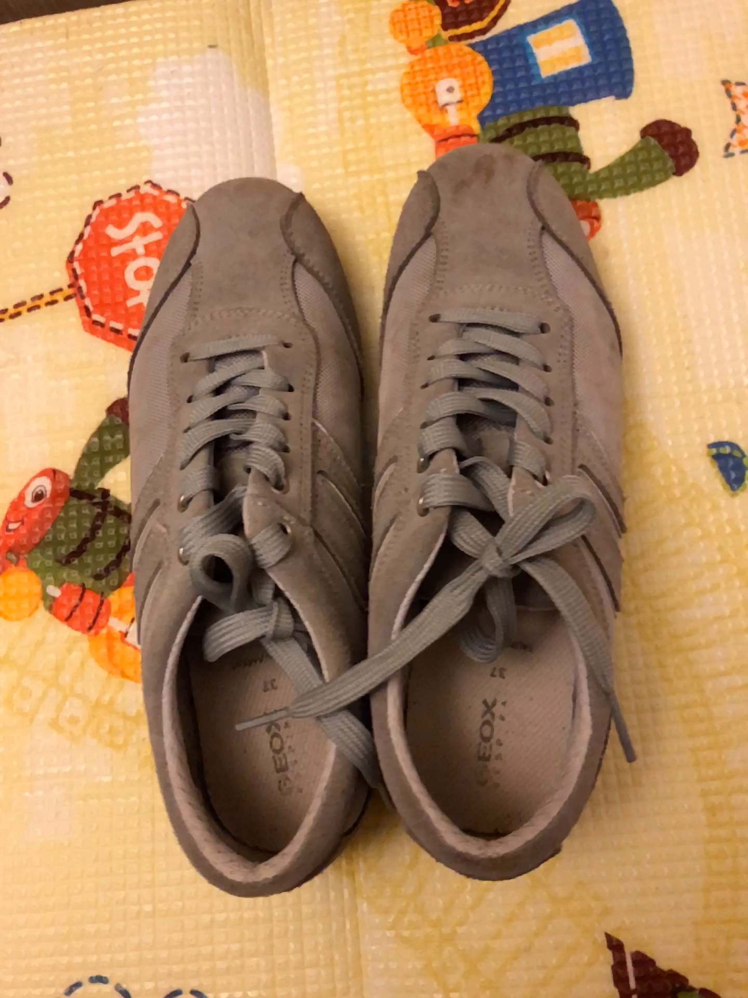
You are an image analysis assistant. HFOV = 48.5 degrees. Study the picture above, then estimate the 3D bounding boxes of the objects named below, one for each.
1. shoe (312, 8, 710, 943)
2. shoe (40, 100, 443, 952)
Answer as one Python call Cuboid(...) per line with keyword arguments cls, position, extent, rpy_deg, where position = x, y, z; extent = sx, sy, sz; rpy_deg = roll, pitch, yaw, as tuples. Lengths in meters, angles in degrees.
Cuboid(cls="shoe", position=(0.043, -0.008, 0.266), extent=(0.090, 0.120, 0.230), rpy_deg=(2, 81, 7))
Cuboid(cls="shoe", position=(-0.038, 0.009, 0.291), extent=(0.090, 0.120, 0.230), rpy_deg=(-8, 80, 6))
